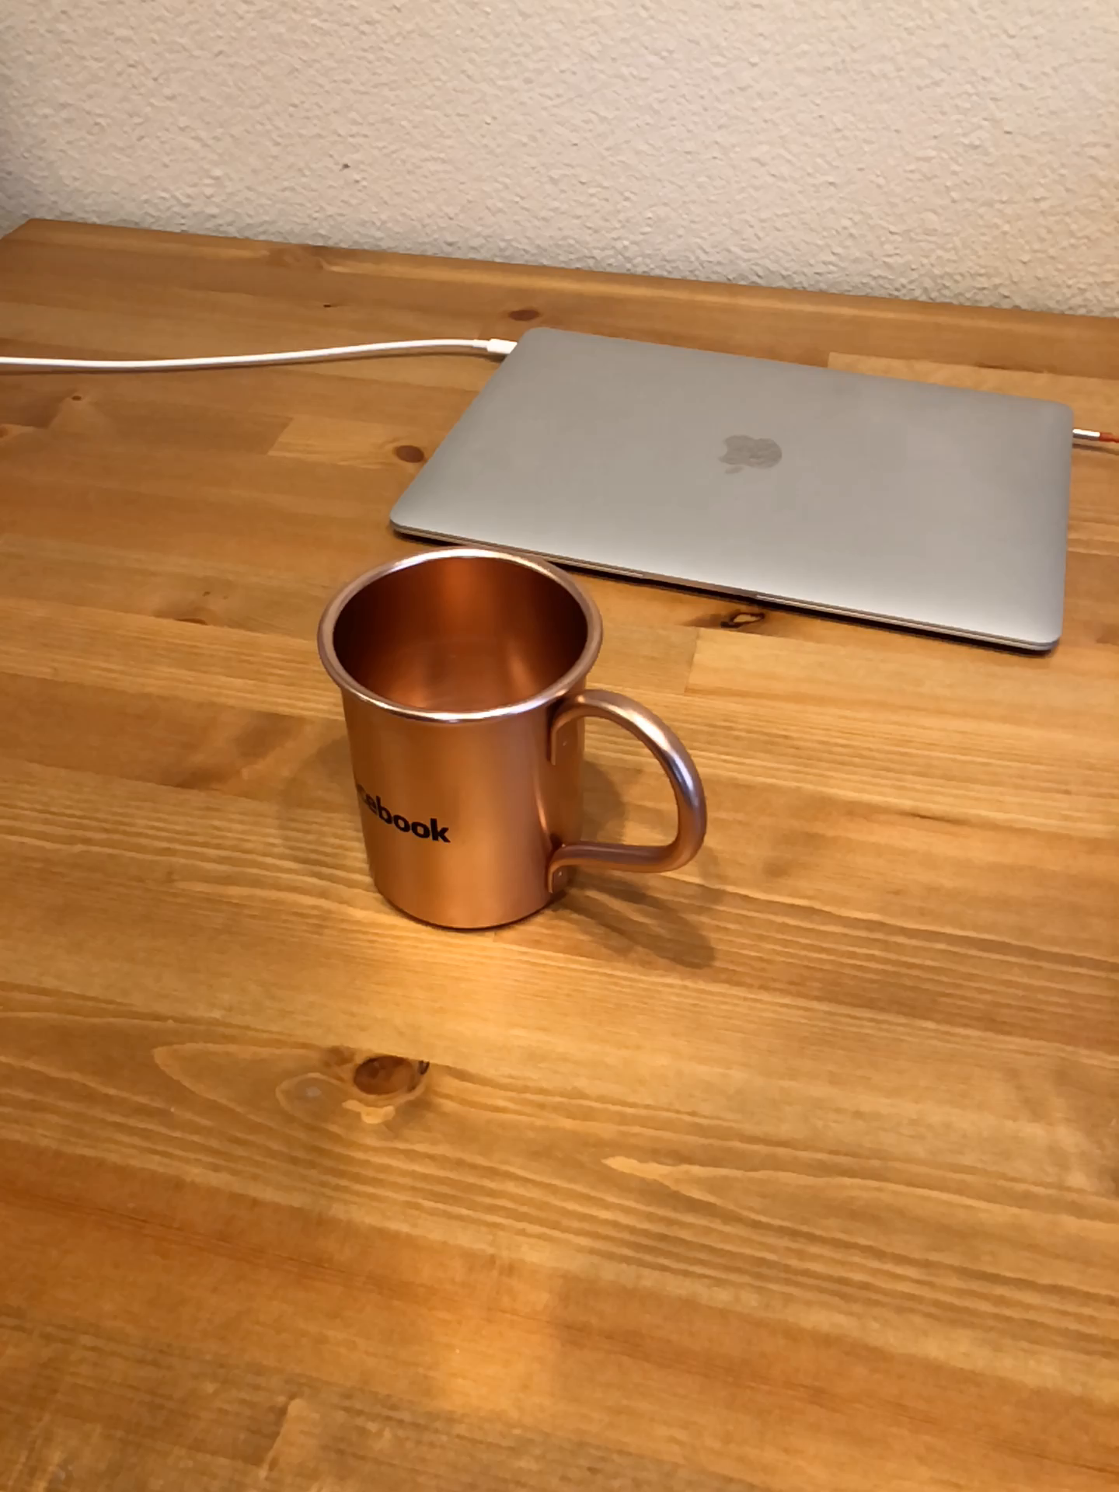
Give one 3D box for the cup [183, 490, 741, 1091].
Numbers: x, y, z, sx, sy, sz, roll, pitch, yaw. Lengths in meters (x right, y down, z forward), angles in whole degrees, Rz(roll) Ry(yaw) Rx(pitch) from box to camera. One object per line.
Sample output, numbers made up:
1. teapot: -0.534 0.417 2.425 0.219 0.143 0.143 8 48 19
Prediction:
1. cup: -0.028 0.008 0.361 0.130 0.100 0.080 33 51 31
